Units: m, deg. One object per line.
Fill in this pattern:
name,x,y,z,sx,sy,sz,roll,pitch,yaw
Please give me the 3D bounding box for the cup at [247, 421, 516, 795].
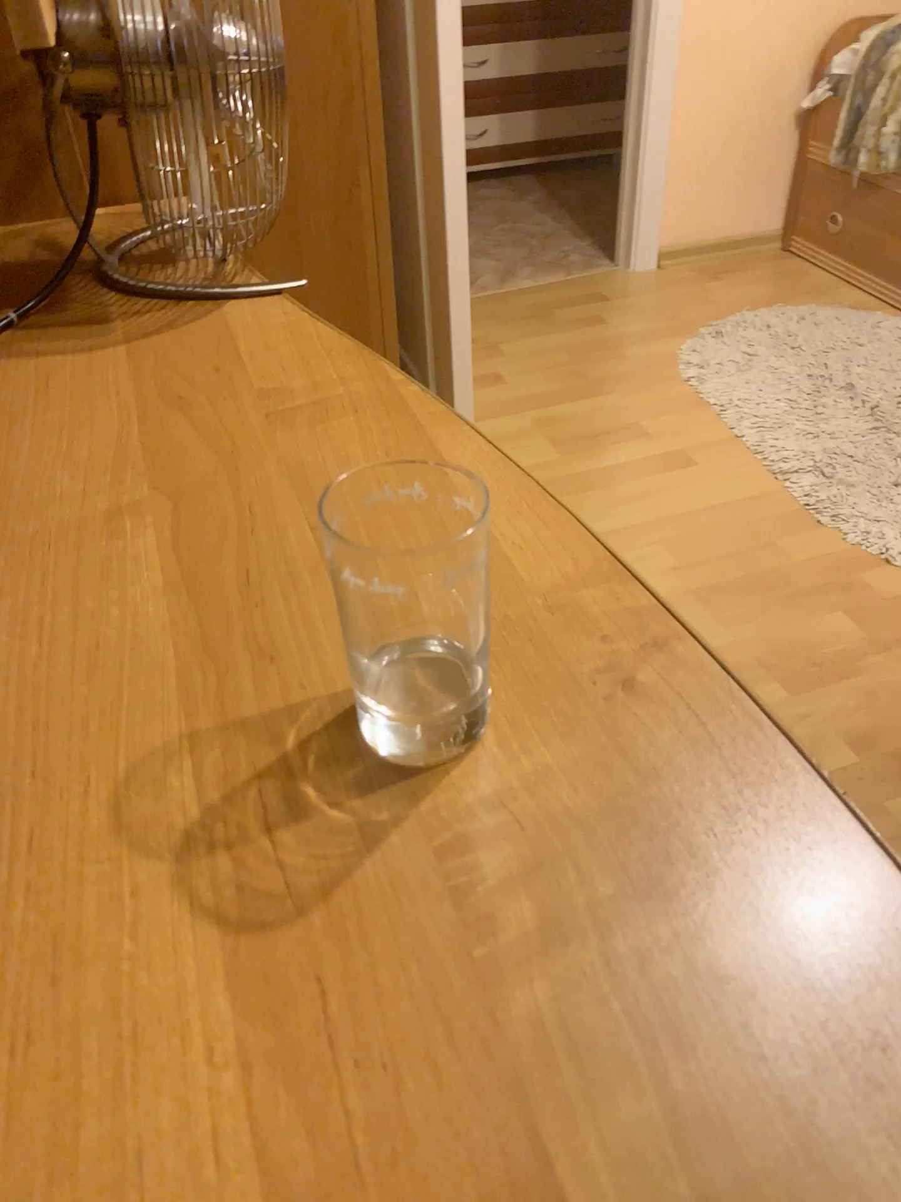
cup,-0.018,0.002,0.317,0.060,0.099,0.060,-2,39,2
